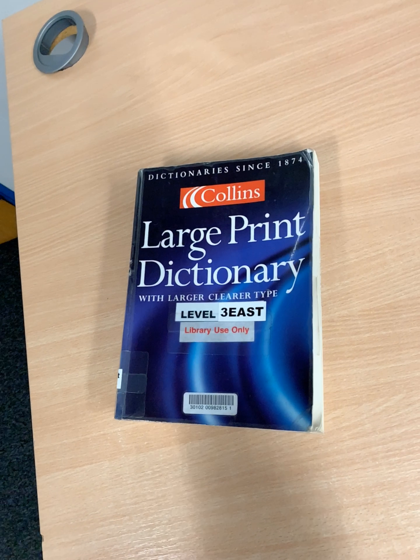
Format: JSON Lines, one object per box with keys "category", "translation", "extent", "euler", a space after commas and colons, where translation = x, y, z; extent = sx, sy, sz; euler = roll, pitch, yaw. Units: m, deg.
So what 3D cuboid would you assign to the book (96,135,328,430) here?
{"category": "book", "translation": [0.006, 0.000, 0.392], "extent": [0.188, 0.050, 0.243], "euler": [-2, 74, 17]}
